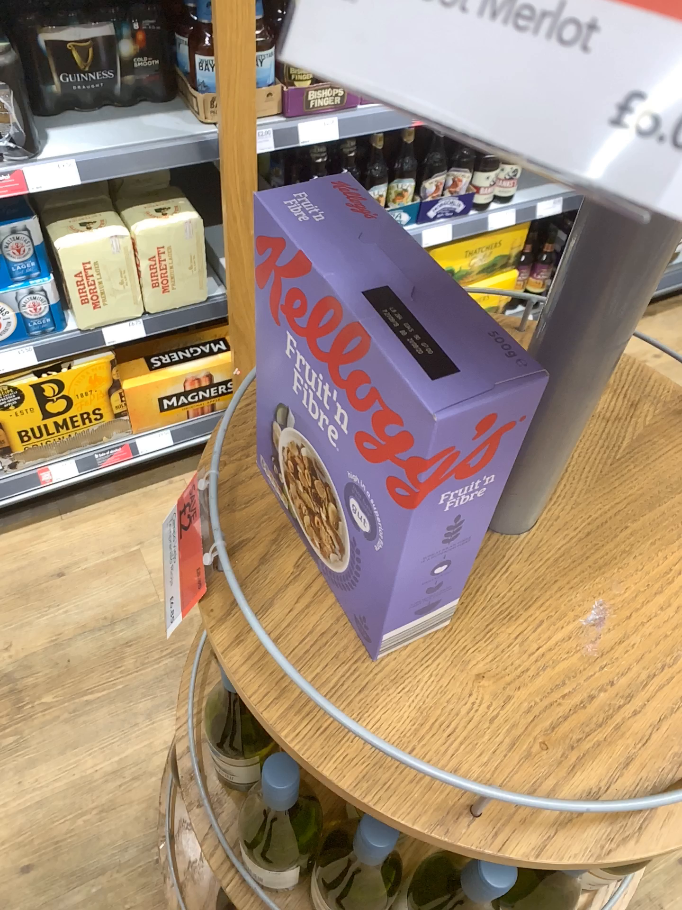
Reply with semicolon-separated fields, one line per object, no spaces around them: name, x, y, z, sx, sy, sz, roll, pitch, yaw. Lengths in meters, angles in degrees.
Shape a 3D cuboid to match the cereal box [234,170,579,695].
cereal box;0.010;-0.005;0.422;0.070;0.238;0.201;-19;55;-21
